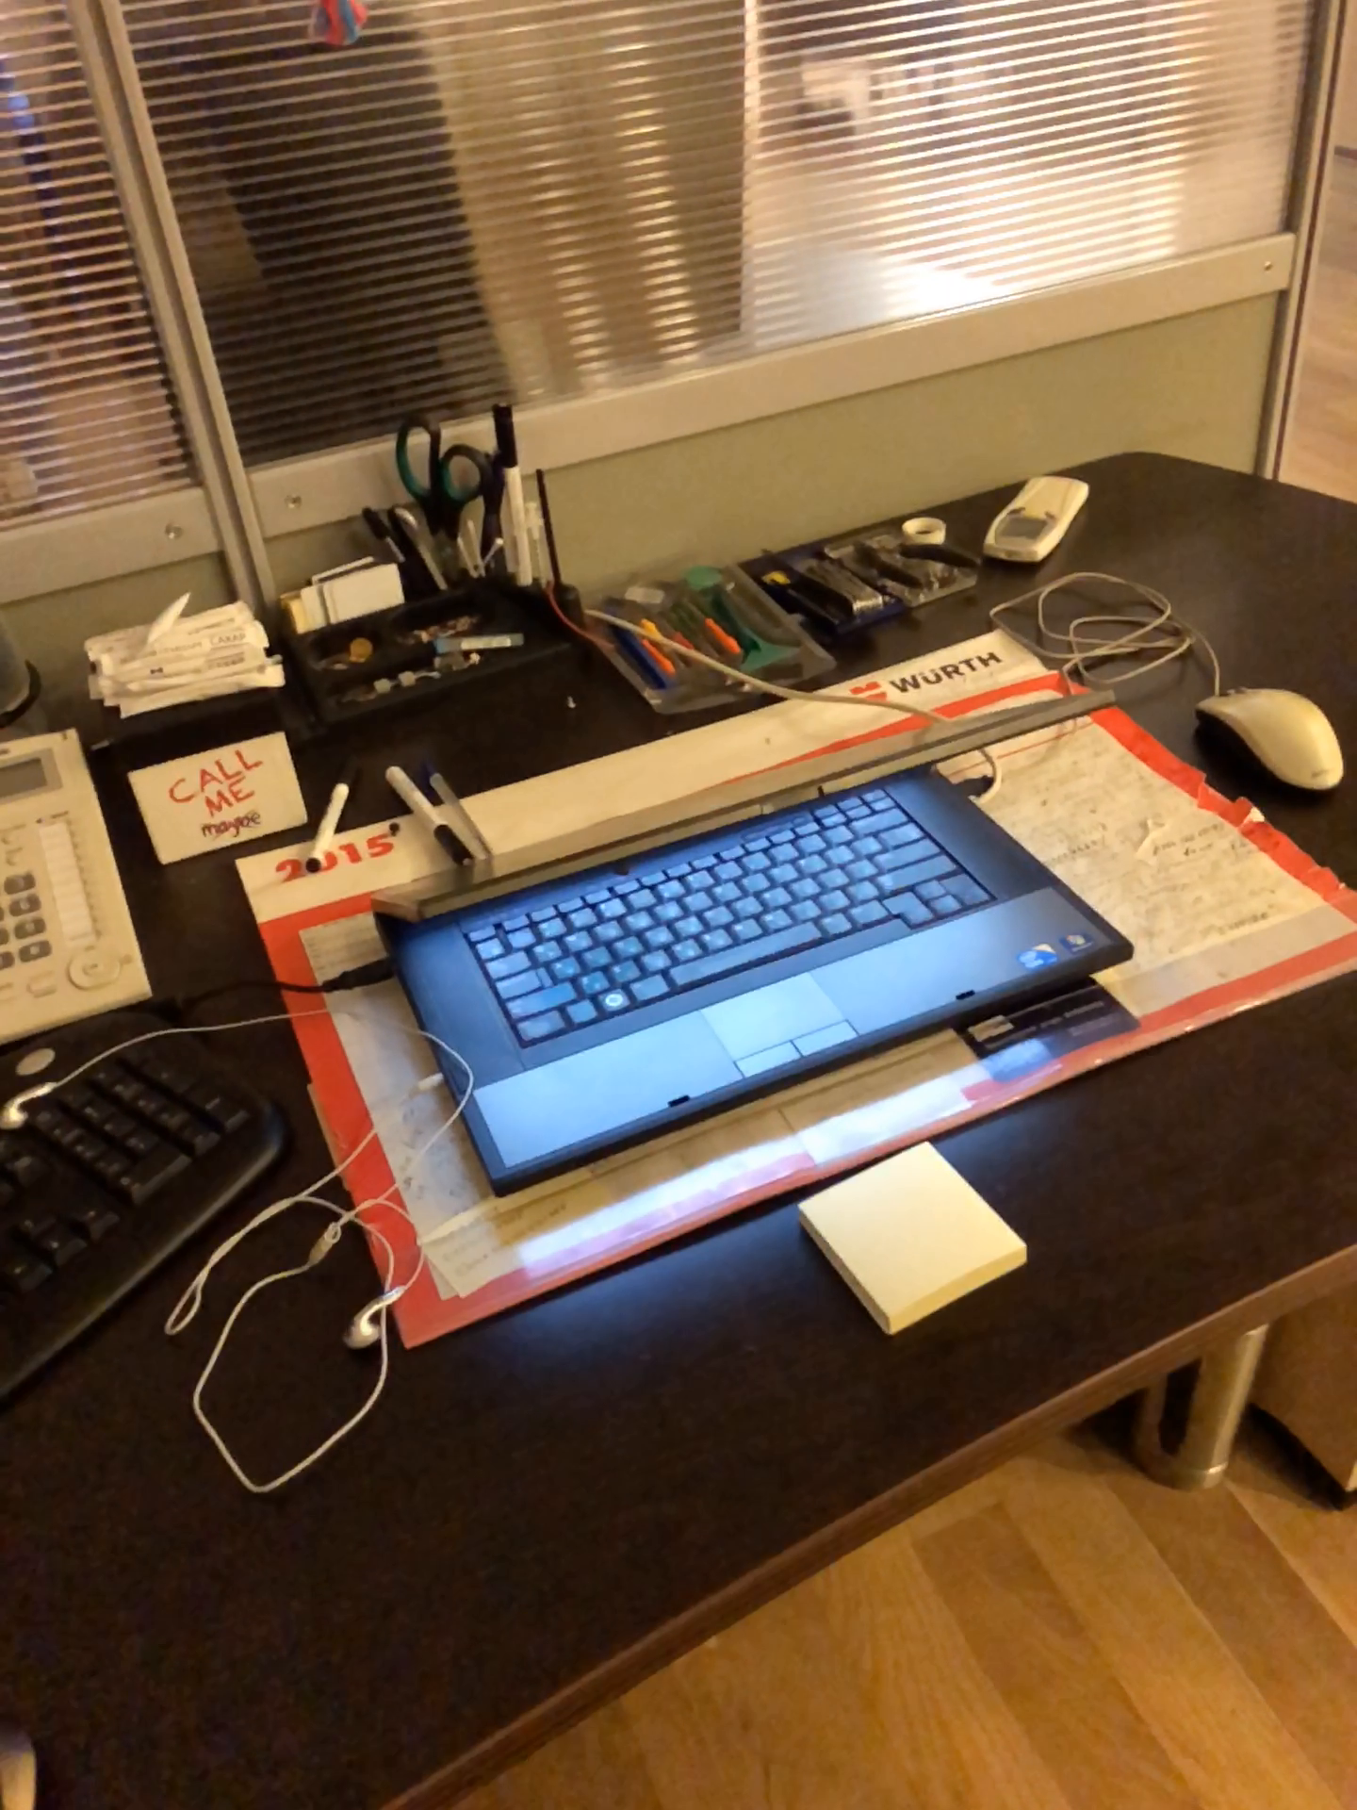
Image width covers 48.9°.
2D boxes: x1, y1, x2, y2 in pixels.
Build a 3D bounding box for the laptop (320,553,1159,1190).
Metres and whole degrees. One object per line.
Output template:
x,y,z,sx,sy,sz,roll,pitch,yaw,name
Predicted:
0.026,-0.039,0.795,0.358,0.141,0.239,-18,38,-17,laptop
